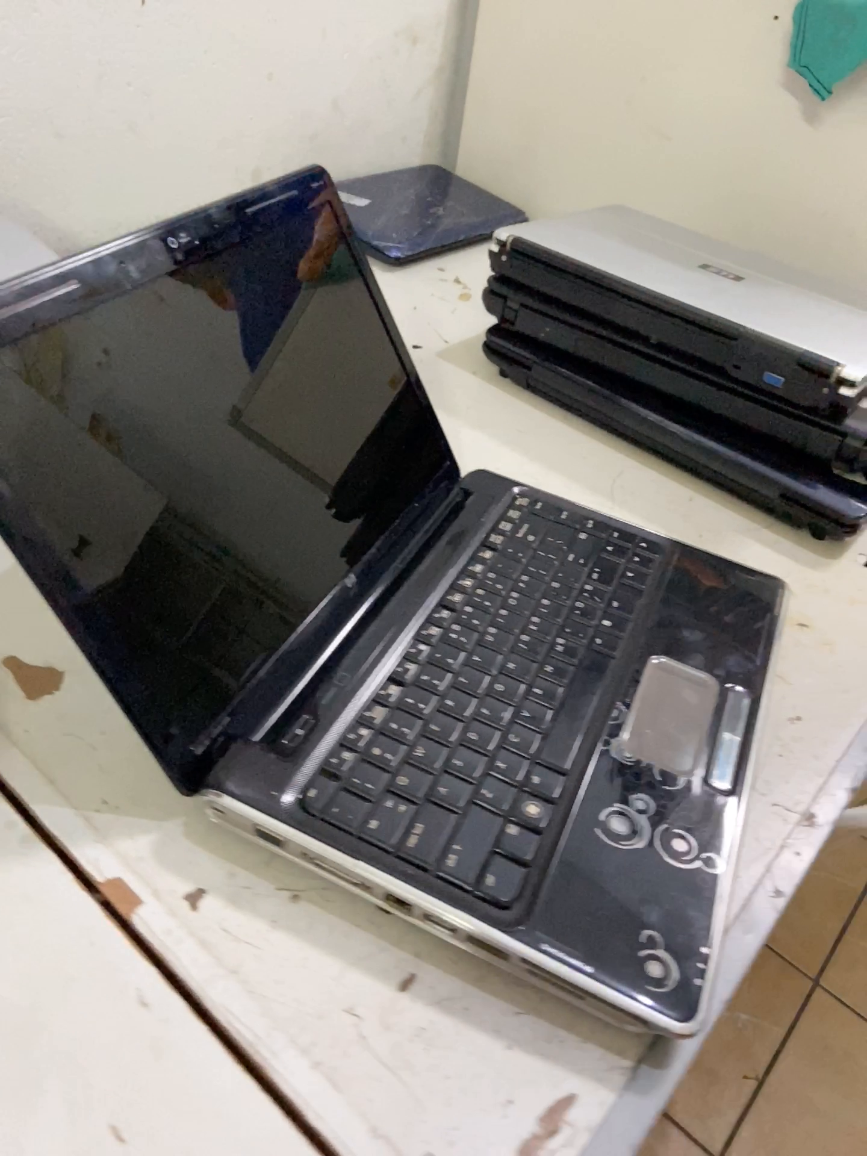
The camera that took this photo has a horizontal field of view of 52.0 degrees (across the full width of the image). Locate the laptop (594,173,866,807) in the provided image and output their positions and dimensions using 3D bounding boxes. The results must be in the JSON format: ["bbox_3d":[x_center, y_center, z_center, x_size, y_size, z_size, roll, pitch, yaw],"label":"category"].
[{"bbox_3d":[0.357,-0.102,0.600,0.372,0.175,0.332,24,41,17],"label":"laptop"}]
